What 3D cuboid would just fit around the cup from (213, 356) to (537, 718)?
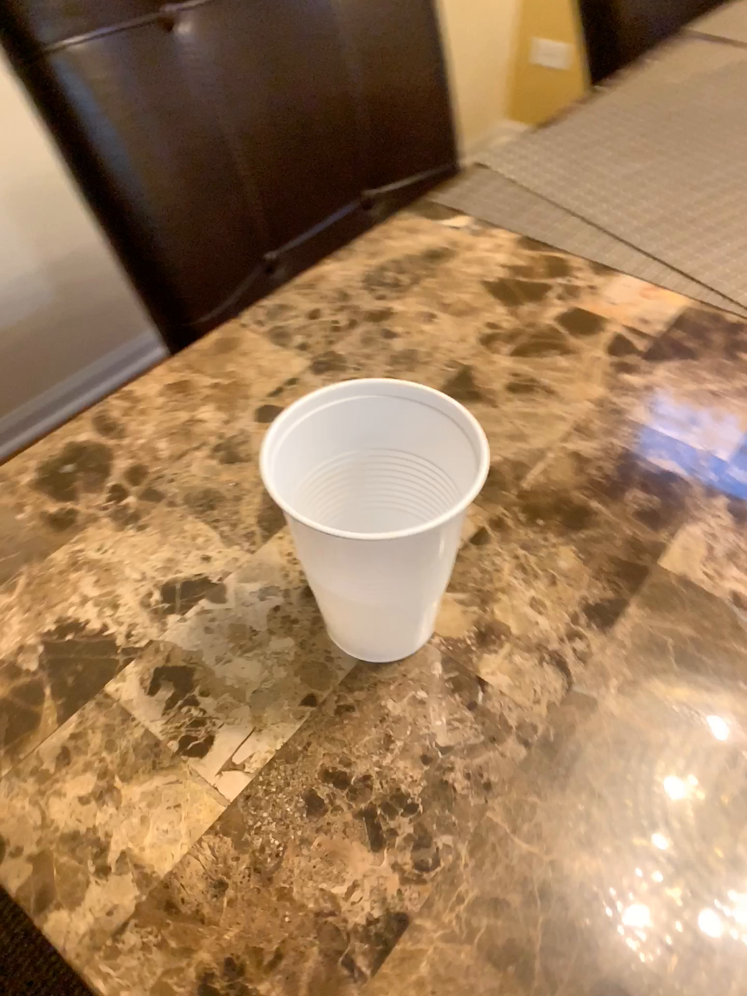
[{"bbox_3d":[0.003,0.013,0.291,0.081,0.084,0.078,-1,47,1],"label":"cup"}]
